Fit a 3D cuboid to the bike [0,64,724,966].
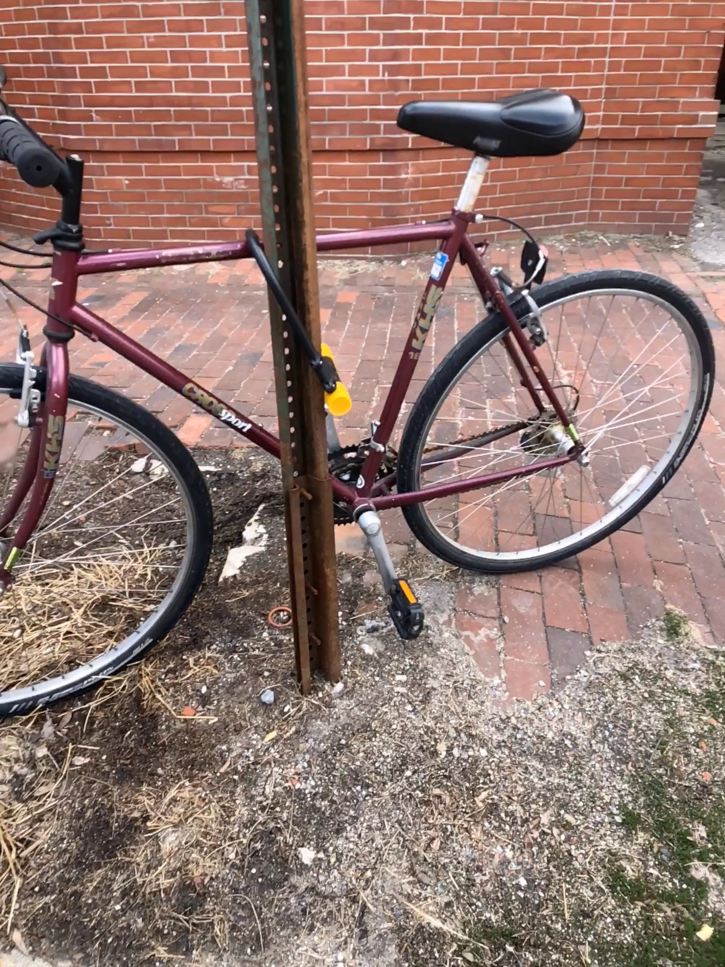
[{"bbox_3d":[-0.050,-0.099,1.282,1.729,1.011,0.670,-11,29,-19],"label":"bike"}]
